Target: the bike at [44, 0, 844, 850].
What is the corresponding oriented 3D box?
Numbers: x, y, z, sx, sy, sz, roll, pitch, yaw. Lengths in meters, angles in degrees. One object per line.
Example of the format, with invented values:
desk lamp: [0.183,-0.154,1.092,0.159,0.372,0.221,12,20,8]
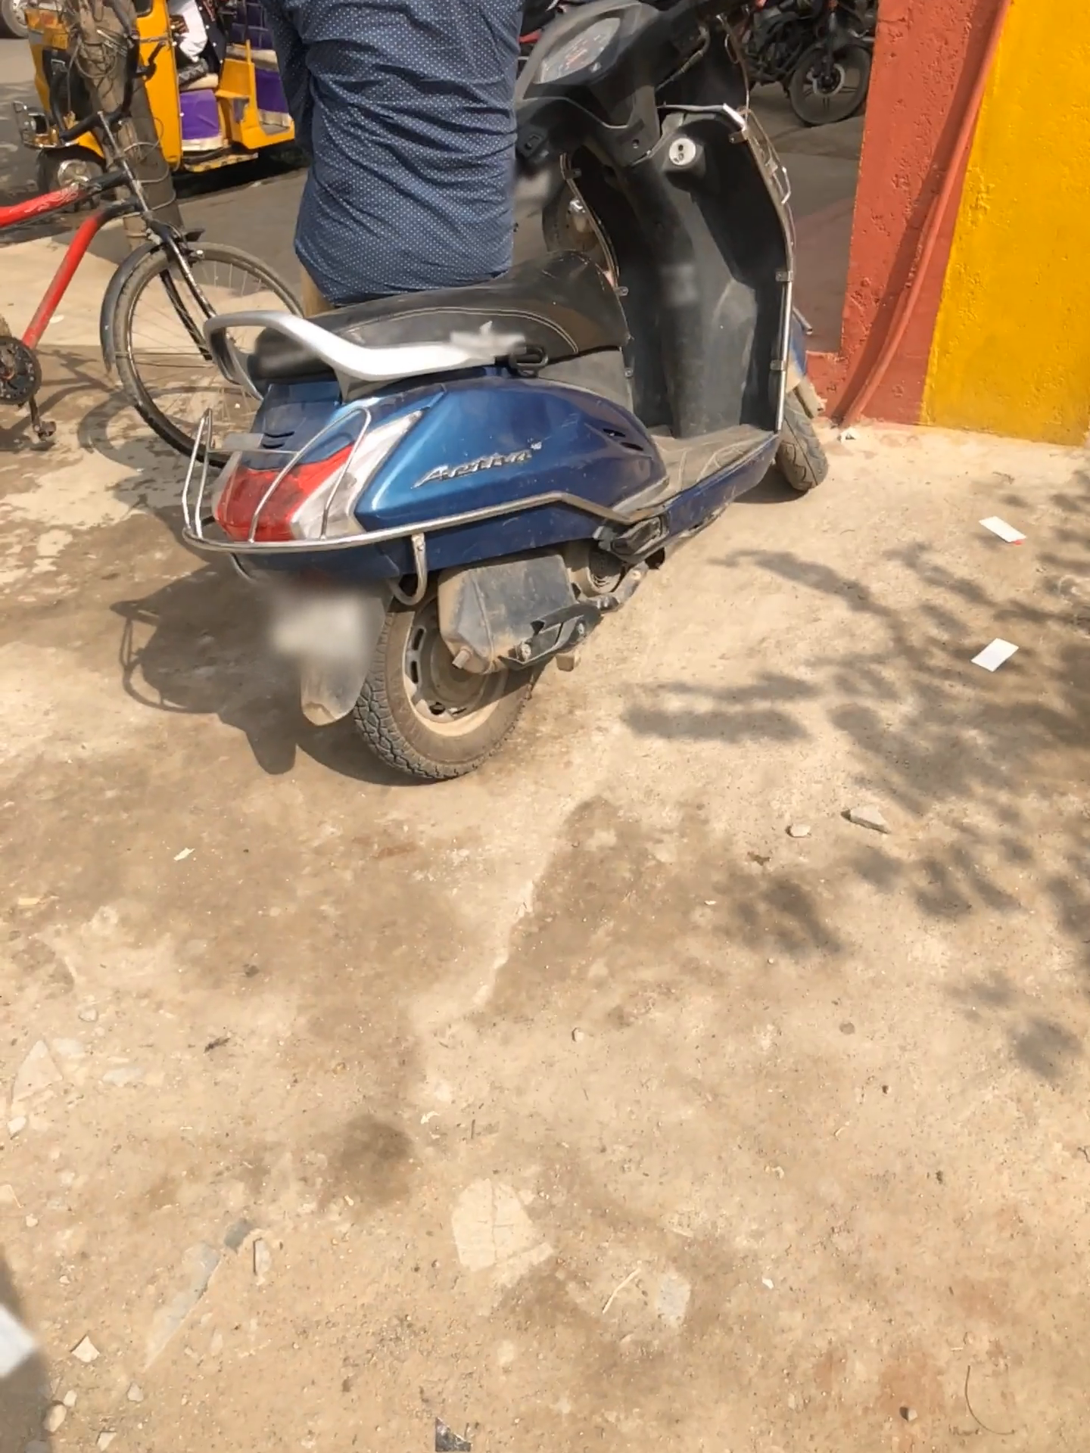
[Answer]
bike: [-0.027,-0.794,2.436,0.624,1.187,1.644,19,41,23]
